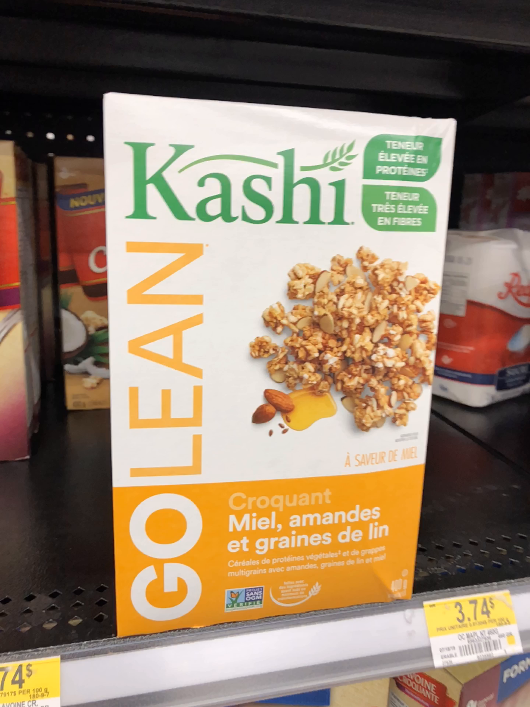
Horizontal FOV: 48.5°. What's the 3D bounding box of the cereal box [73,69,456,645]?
[{"bbox_3d":[-0.004,0.009,0.309,0.170,0.269,0.050,-1,14,-13],"label":"cereal box"}]
